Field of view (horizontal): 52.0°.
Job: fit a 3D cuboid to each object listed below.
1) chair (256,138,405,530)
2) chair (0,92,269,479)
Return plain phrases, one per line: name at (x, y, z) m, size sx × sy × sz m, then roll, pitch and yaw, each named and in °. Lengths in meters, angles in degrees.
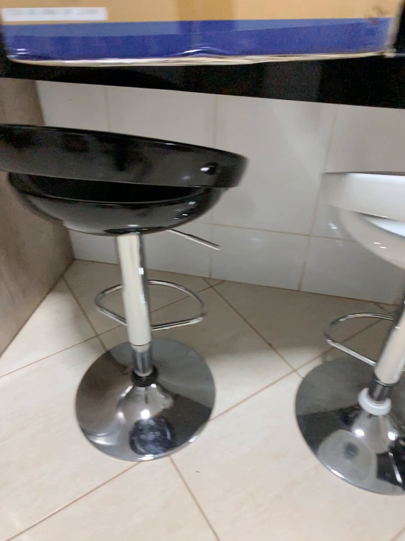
chair at (0.413, 0.132, 0.863) m, size 0.510 × 0.634 × 0.414 m, roll 7°, pitch 38°, yaw 8°
chair at (-0.176, 0.036, 1.050) m, size 0.570 × 0.753 × 0.515 m, roll 7°, pitch 38°, yaw 8°
